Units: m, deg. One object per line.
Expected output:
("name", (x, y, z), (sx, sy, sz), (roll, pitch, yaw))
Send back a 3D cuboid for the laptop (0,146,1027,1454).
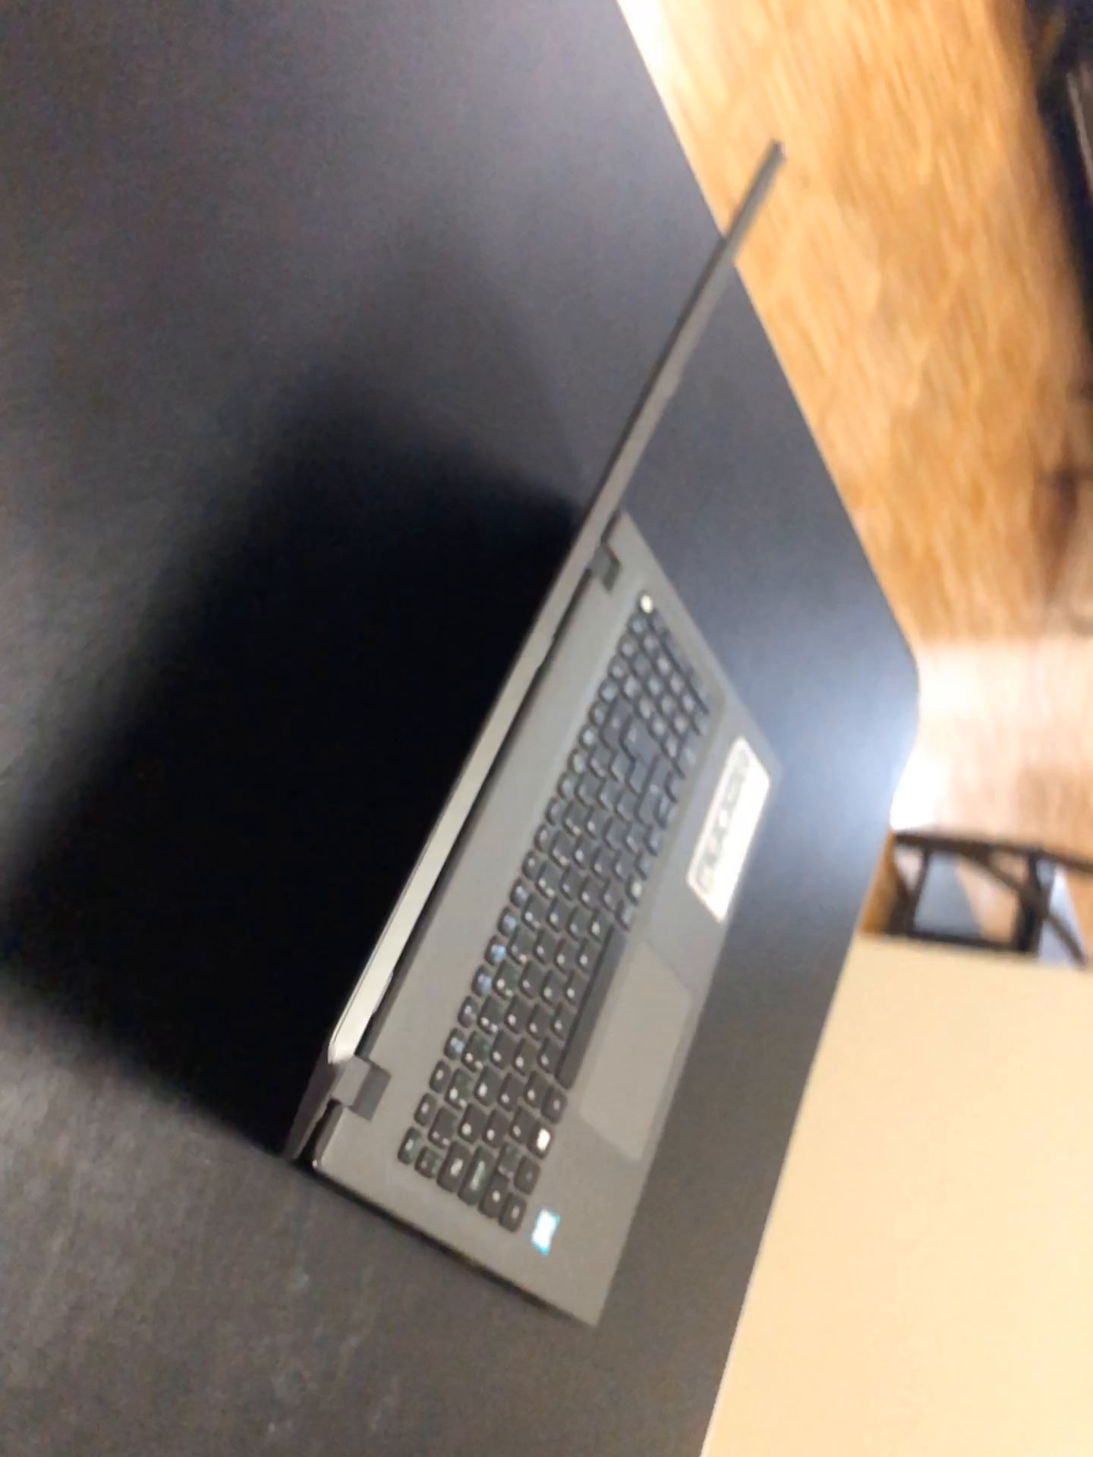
("laptop", (0.057, 0.058, 0.566), (0.431, 0.161, 0.375), (51, 53, -41))
